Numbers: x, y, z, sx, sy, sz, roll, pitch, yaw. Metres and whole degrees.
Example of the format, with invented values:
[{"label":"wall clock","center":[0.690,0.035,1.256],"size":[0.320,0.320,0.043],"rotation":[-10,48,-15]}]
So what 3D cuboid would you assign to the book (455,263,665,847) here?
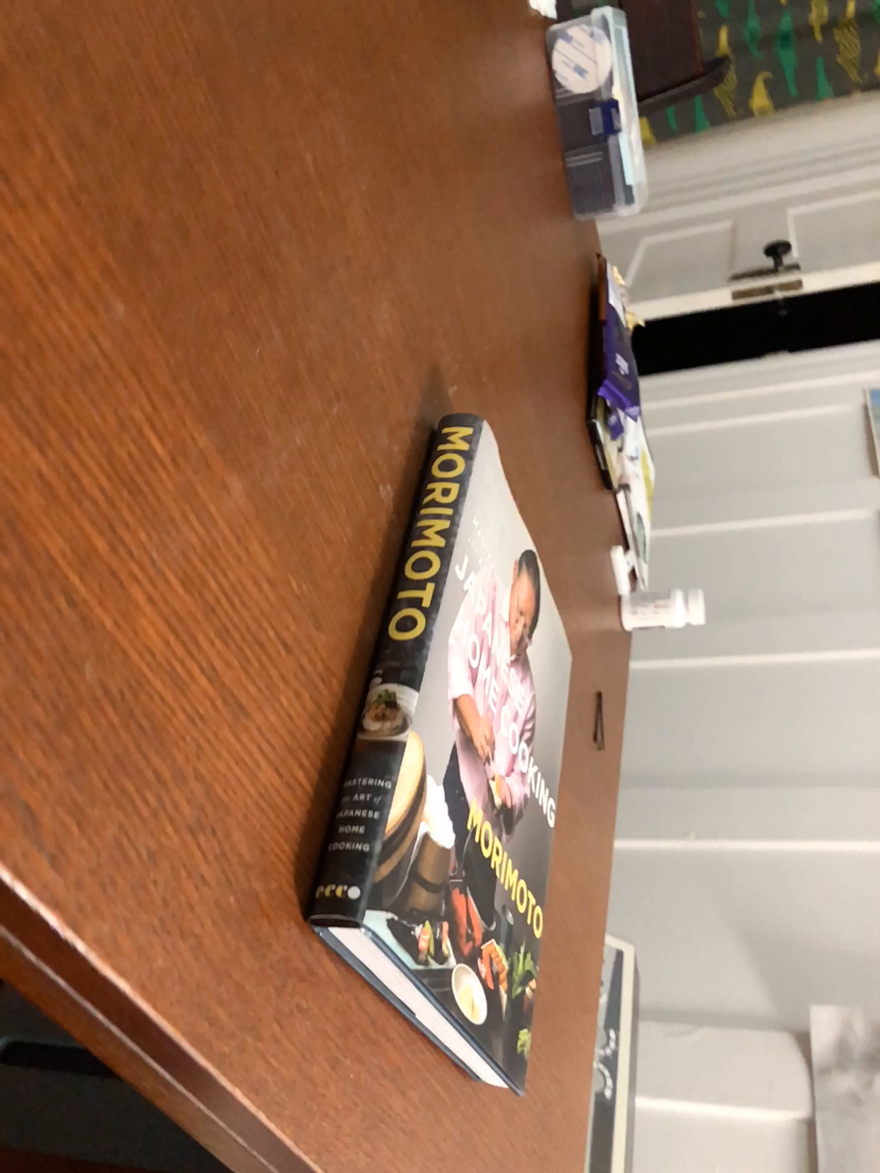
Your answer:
[{"label":"book","center":[0.087,-0.041,0.553],"size":[0.301,0.030,0.220],"rotation":[-59,140,-57]}]
